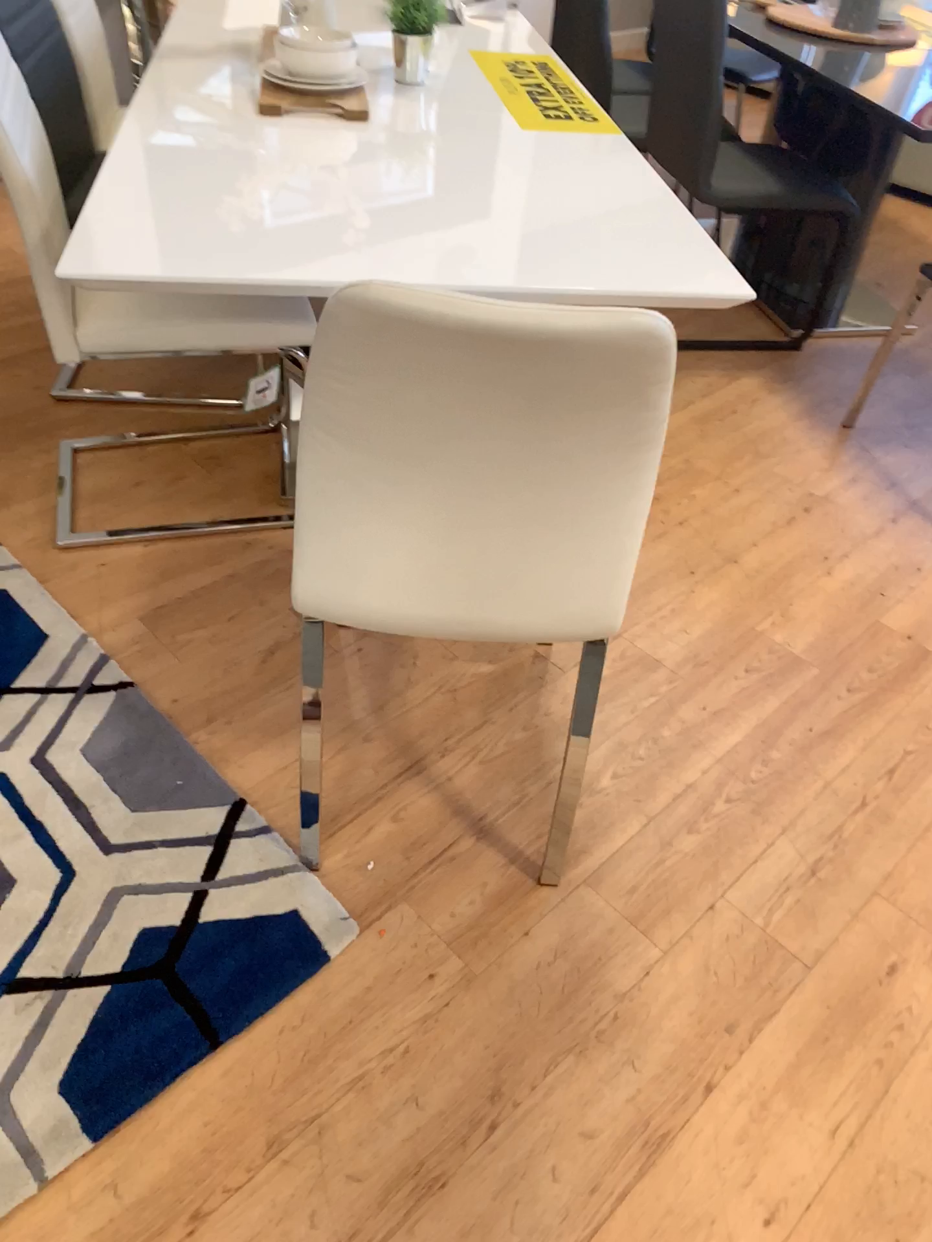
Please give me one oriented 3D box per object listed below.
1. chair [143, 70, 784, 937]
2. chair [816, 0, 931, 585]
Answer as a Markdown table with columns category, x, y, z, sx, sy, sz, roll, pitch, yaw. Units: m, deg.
| category | x | y | z | sx | sy | sz | roll | pitch | yaw |
| --- | --- | --- | --- | --- | --- | --- | --- | --- | --- |
| chair | -0.015 | -0.138 | 1.263 | 0.490 | 0.881 | 0.677 | 5 | 42 | 0 |
| chair | 1.288 | -0.683 | 2.003 | 0.520 | 0.950 | 0.717 | -3 | 42 | -10 |
